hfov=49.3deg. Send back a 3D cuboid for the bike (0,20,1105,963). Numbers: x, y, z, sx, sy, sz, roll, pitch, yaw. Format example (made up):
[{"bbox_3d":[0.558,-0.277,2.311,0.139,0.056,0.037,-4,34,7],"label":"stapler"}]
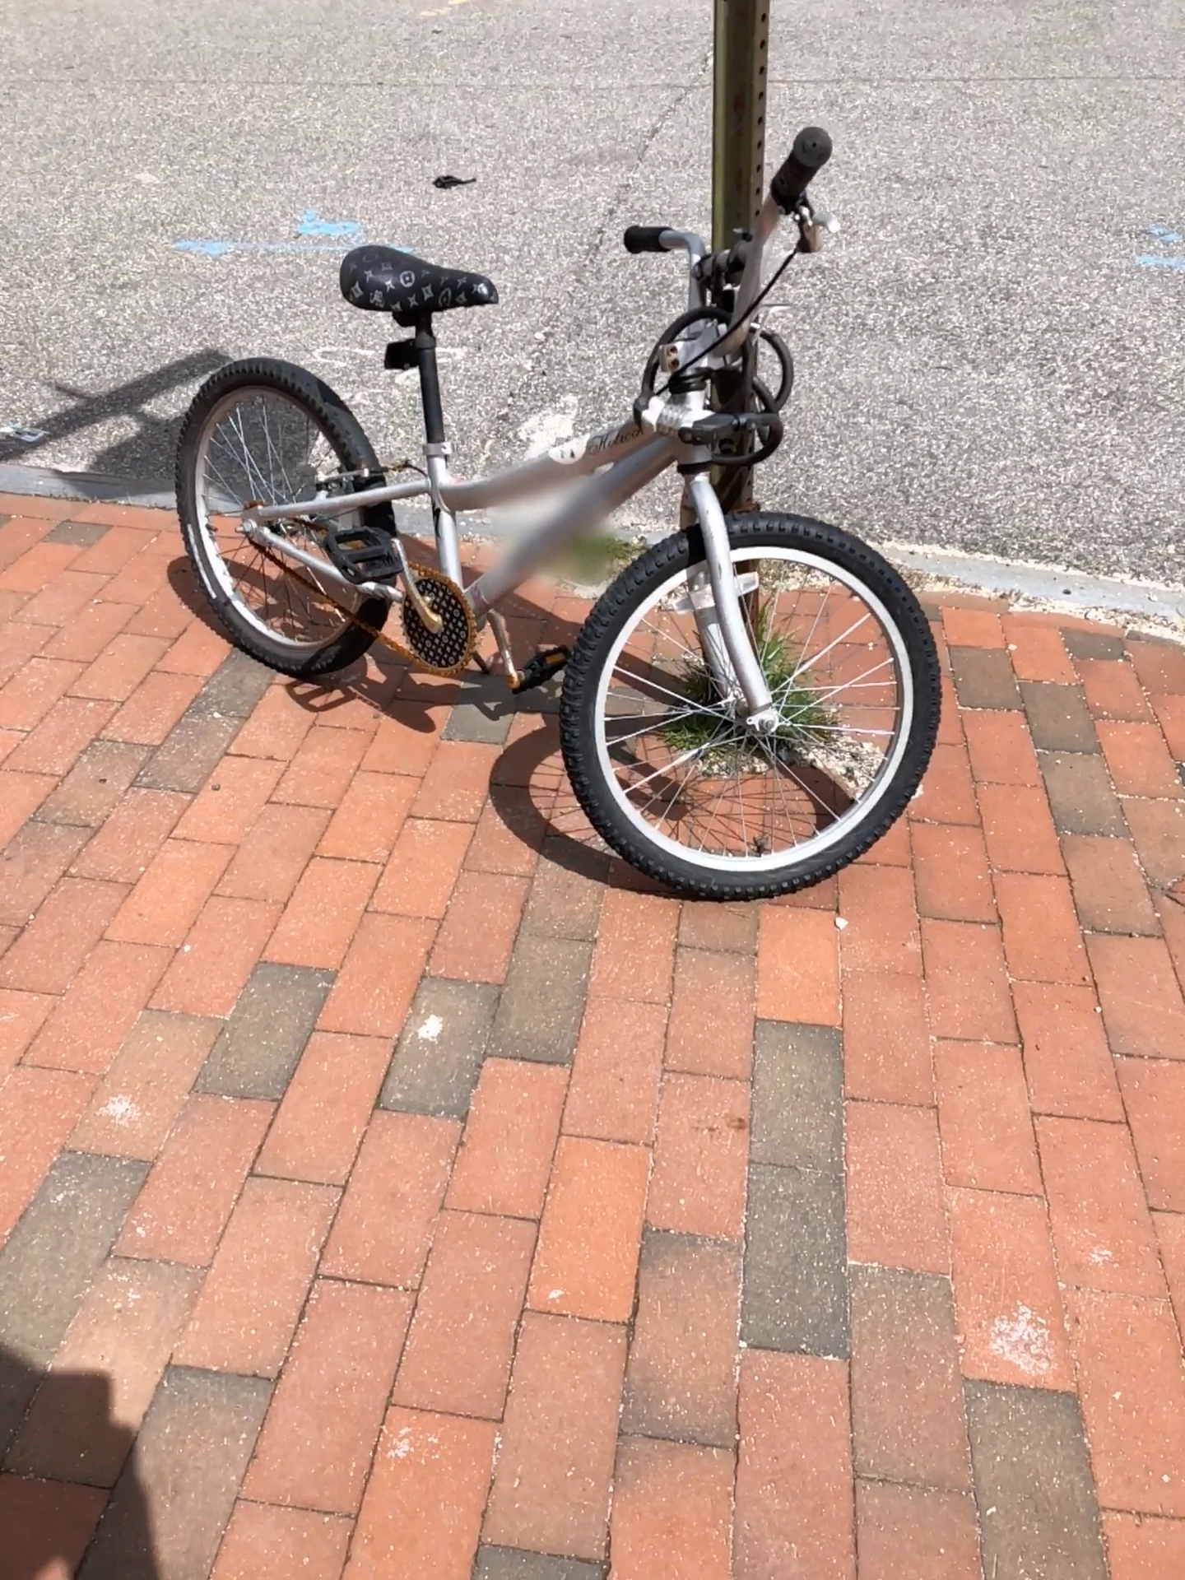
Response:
[{"bbox_3d":[-0.128,-0.489,1.719,1.209,0.831,0.719,18,39,24],"label":"bike"}]
